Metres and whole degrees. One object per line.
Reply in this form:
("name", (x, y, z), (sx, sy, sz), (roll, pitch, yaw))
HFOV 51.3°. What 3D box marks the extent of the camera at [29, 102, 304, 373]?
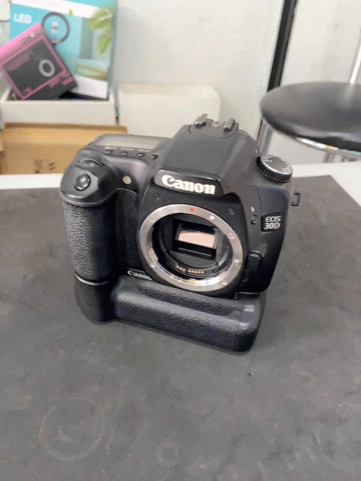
("camera", (-0.005, -0.004, 0.258), (0.140, 0.139, 0.081), (12, 37, 13))
